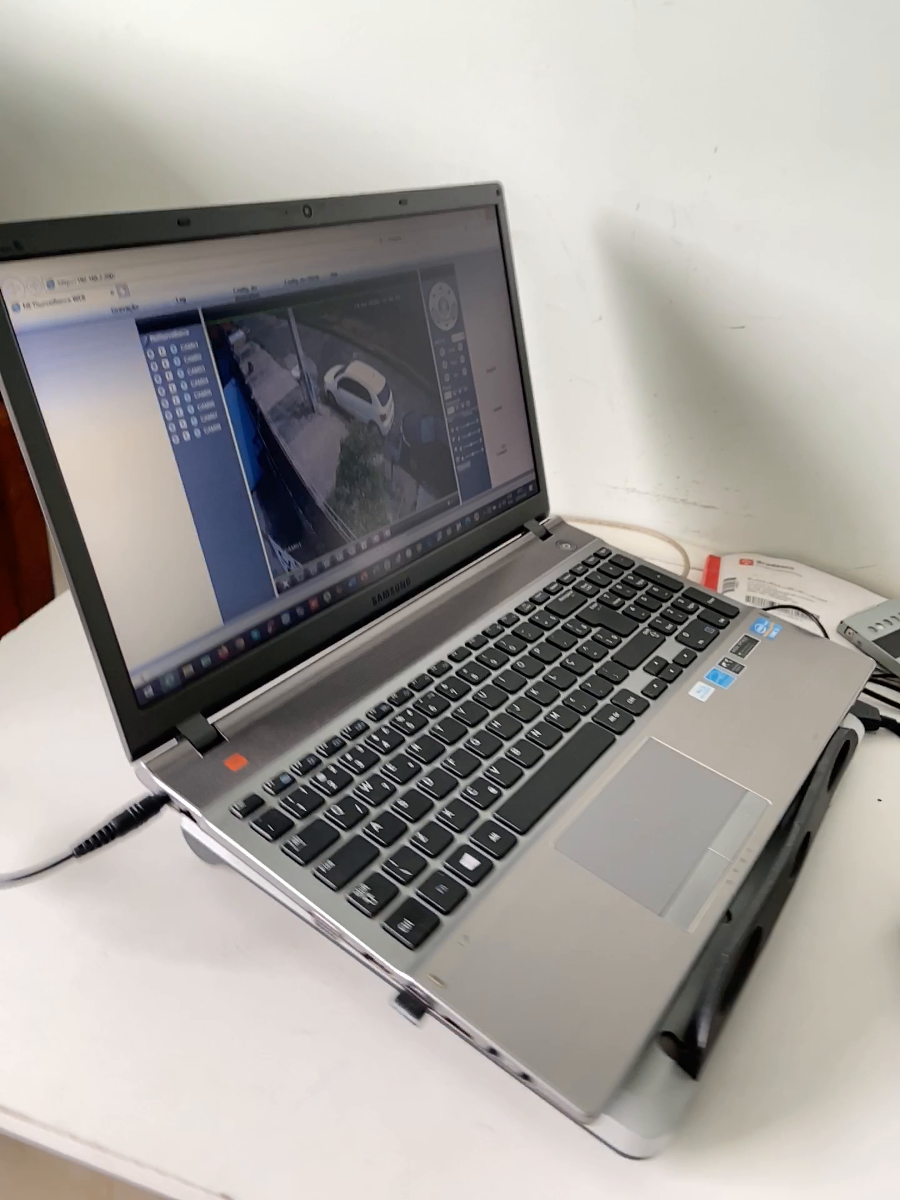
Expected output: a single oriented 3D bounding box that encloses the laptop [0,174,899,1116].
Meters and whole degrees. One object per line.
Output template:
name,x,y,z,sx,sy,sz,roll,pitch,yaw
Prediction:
laptop,0.038,-0.054,0.467,0.335,0.213,0.369,27,37,27
